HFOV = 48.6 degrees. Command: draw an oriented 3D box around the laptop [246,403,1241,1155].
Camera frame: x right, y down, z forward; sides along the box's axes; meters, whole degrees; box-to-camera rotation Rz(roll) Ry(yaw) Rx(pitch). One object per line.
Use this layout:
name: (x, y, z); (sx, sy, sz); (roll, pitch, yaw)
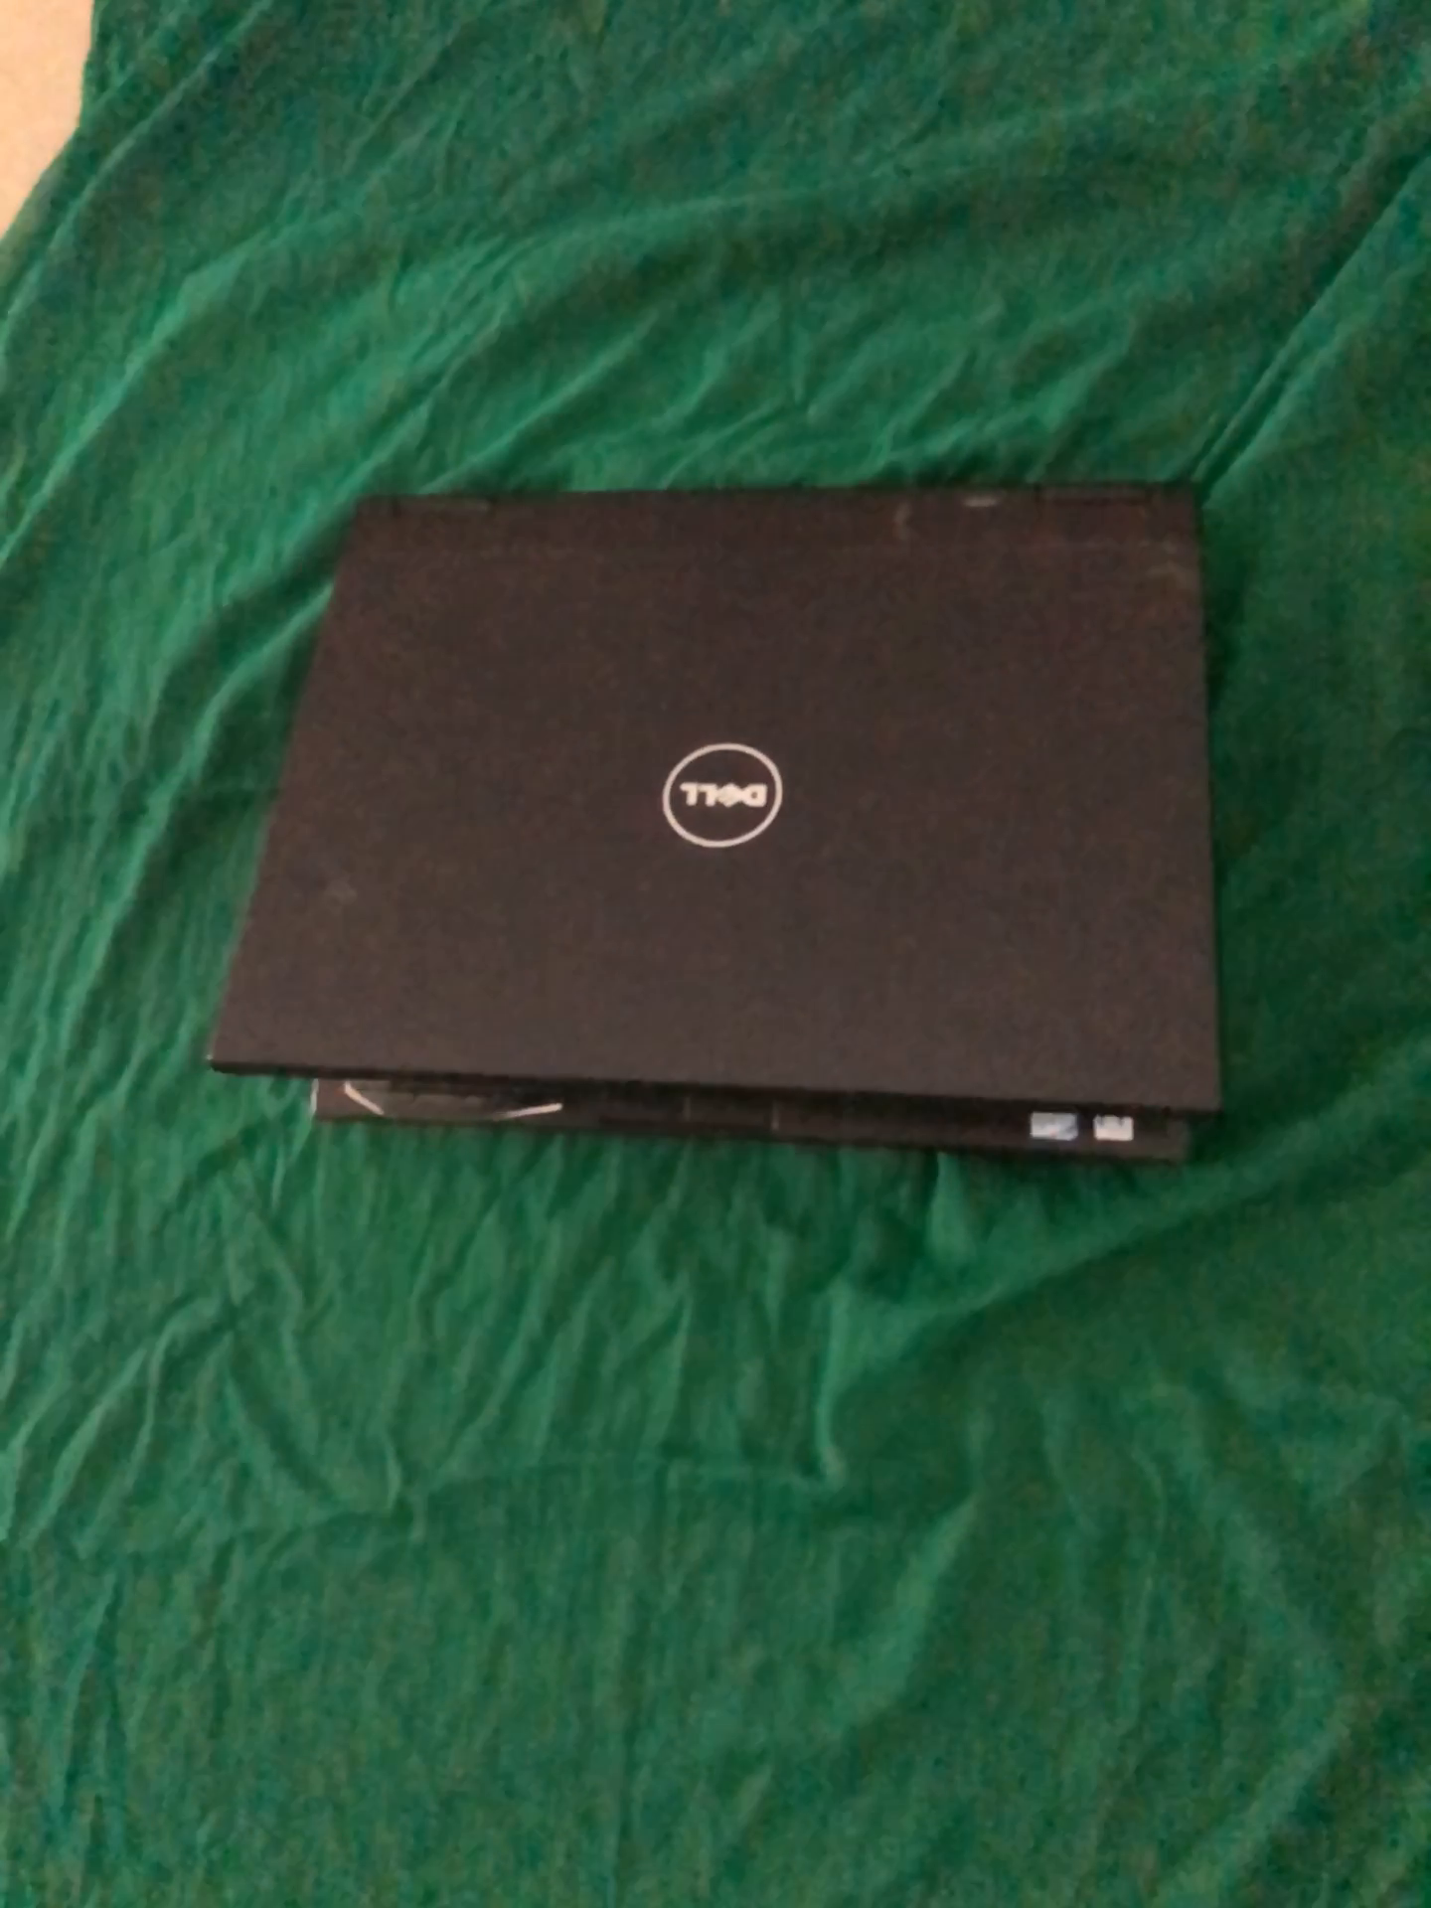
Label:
laptop: (0.008, -0.055, 0.536); (0.306, 0.066, 0.226); (2, 87, 10)
